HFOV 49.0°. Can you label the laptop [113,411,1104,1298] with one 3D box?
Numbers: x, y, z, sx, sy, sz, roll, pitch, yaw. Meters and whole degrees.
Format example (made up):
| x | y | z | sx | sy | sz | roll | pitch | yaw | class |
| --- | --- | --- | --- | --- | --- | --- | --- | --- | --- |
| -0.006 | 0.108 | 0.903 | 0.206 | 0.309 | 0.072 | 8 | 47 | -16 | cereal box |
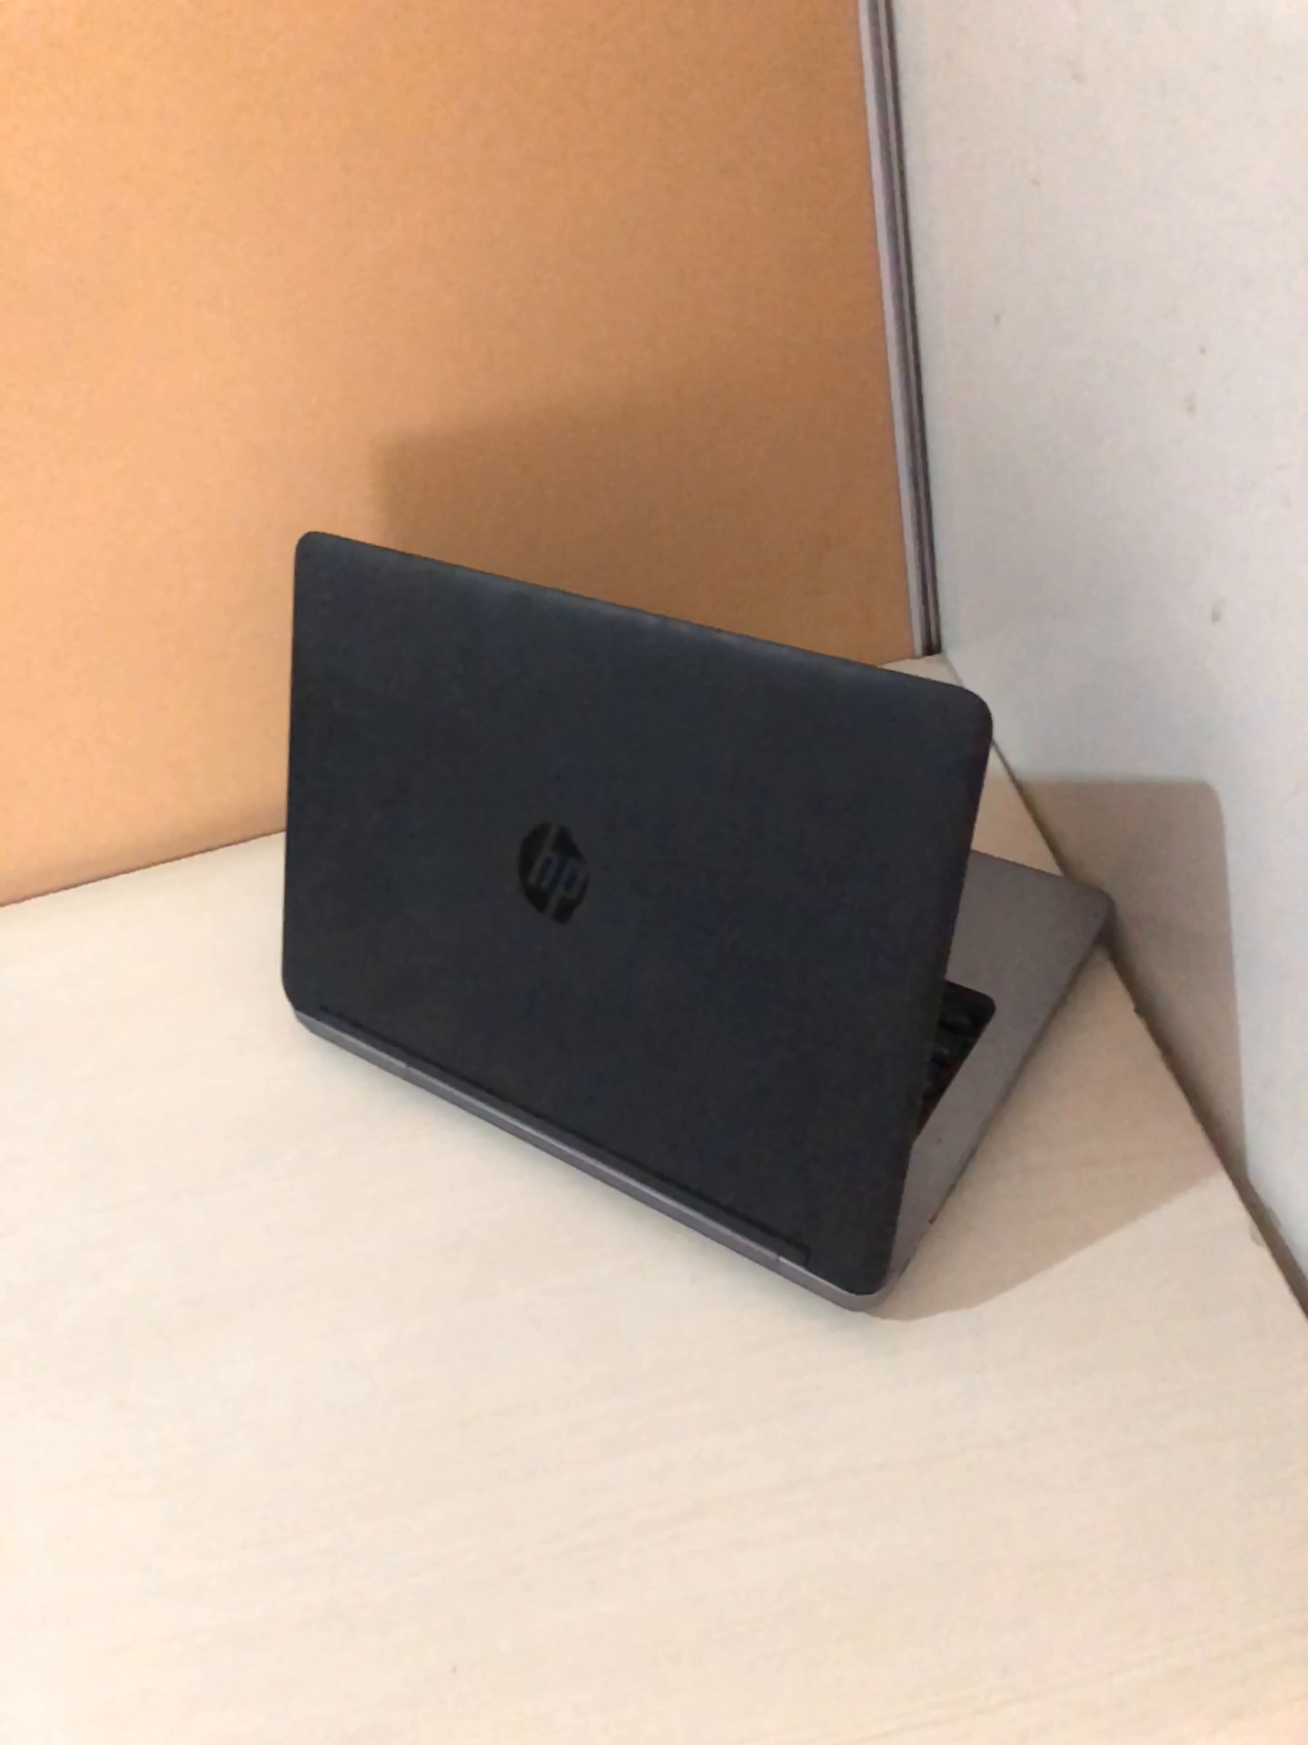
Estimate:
| x | y | z | sx | sy | sz | roll | pitch | yaw | class |
| --- | --- | --- | --- | --- | --- | --- | --- | --- | --- |
| -0.007 | -0.033 | 0.610 | 0.319 | 0.192 | 0.228 | 20 | 52 | 32 | laptop |
